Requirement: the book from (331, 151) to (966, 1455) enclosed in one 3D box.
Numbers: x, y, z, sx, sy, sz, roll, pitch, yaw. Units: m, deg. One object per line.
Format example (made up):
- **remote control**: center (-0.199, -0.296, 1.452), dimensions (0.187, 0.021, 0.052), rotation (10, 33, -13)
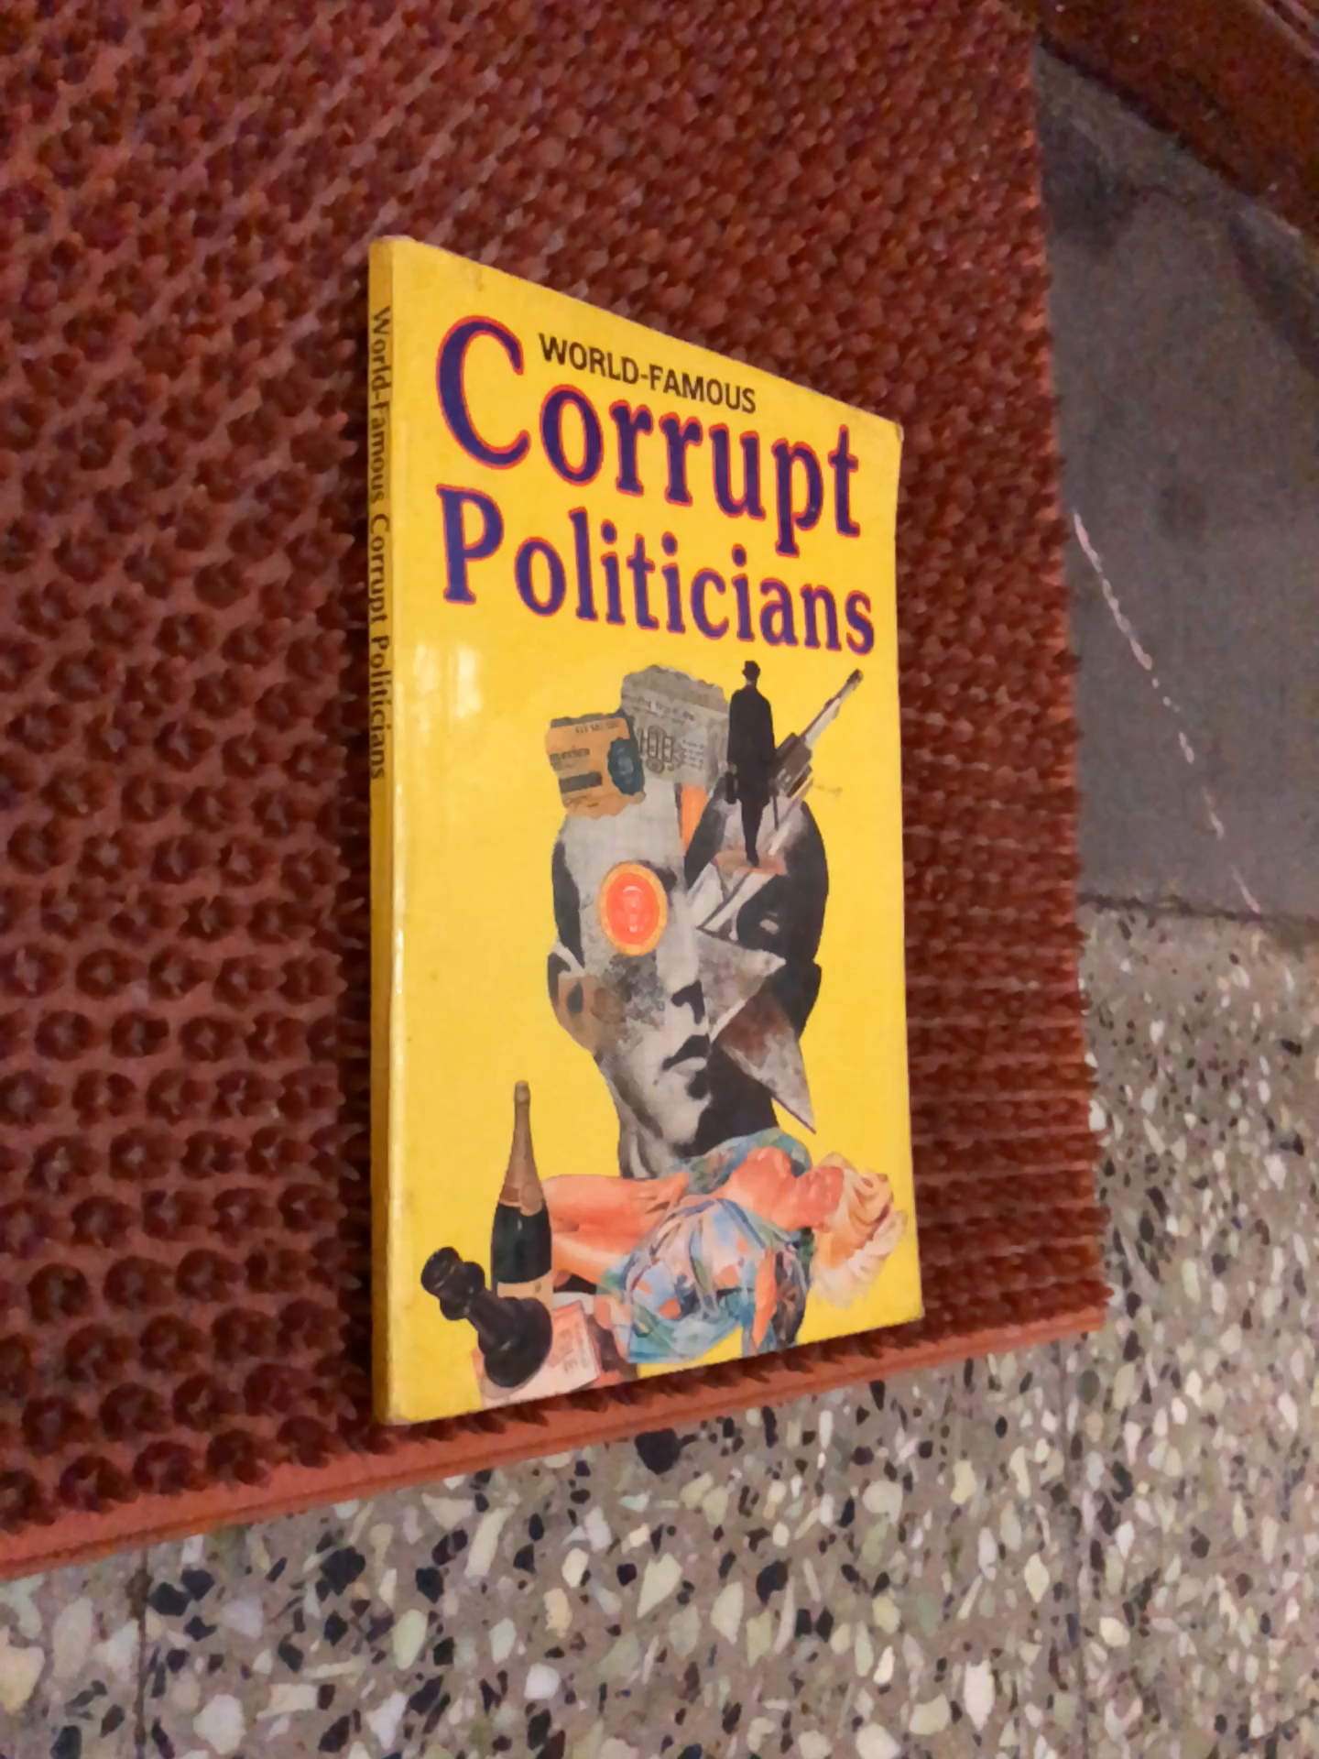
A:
- **book**: center (0.004, -0.014, 0.311), dimensions (0.151, 0.020, 0.230), rotation (5, 80, -40)
